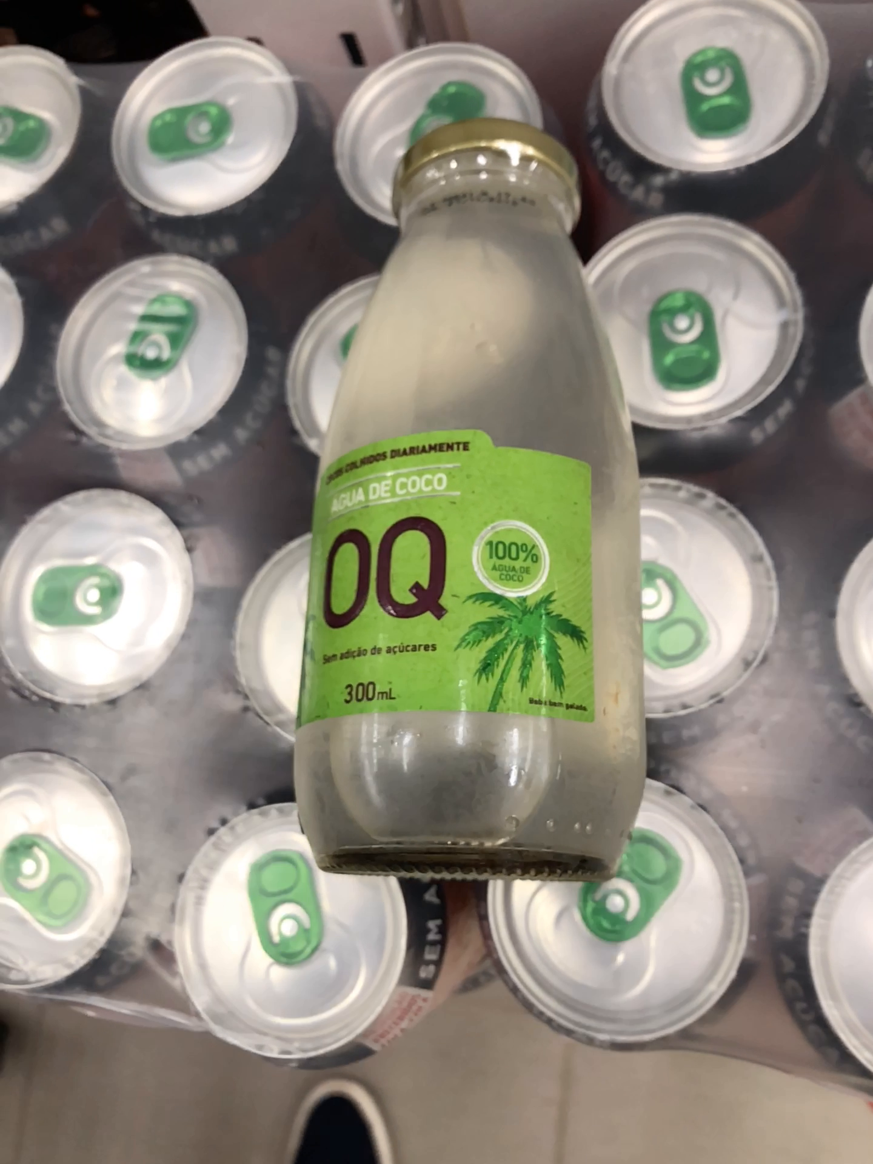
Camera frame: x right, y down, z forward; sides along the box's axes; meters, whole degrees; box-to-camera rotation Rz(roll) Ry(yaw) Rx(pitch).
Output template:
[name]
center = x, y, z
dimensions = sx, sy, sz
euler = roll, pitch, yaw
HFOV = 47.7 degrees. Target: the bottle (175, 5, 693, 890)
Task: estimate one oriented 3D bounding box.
[bottle]
center = 0.001, -0.018, 0.195
dimensions = 0.070, 0.060, 0.150
euler = -10, 71, 29
